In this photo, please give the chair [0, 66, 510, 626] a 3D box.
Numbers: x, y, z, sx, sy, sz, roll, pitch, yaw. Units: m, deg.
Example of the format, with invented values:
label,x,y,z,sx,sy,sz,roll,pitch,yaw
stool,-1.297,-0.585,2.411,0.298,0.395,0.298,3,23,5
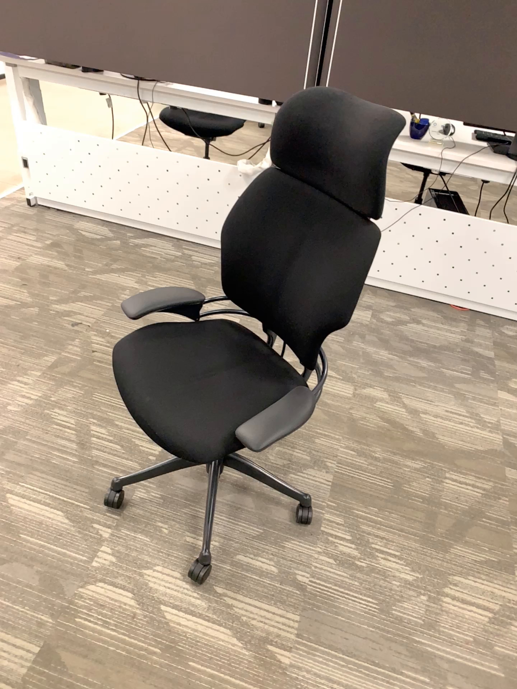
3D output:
label,x,y,z,sx,sy,sz,roll,pitch,yaw
chair,-0.067,-0.045,1.379,0.773,1.090,0.694,-20,45,-32
